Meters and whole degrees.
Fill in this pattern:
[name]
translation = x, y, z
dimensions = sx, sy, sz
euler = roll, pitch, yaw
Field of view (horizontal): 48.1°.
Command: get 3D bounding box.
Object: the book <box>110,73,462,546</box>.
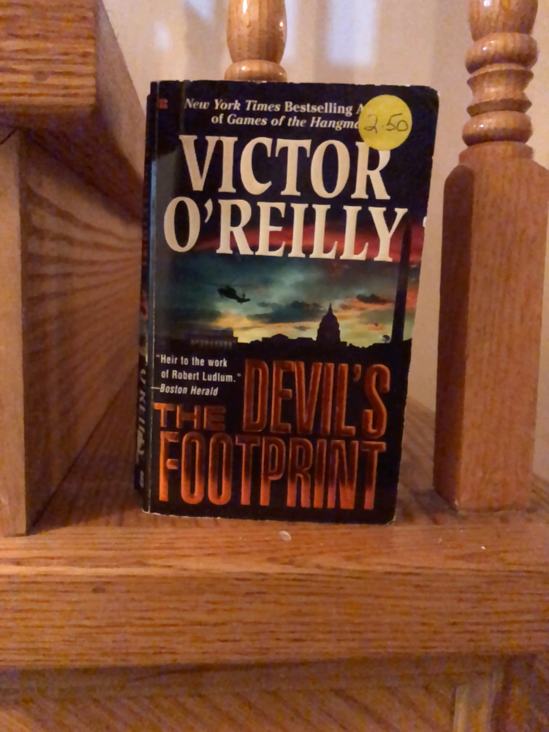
[book]
translation = 0.002, -0.021, 0.250
dimensions = 0.120, 0.170, 0.050
euler = 2, 11, 4
